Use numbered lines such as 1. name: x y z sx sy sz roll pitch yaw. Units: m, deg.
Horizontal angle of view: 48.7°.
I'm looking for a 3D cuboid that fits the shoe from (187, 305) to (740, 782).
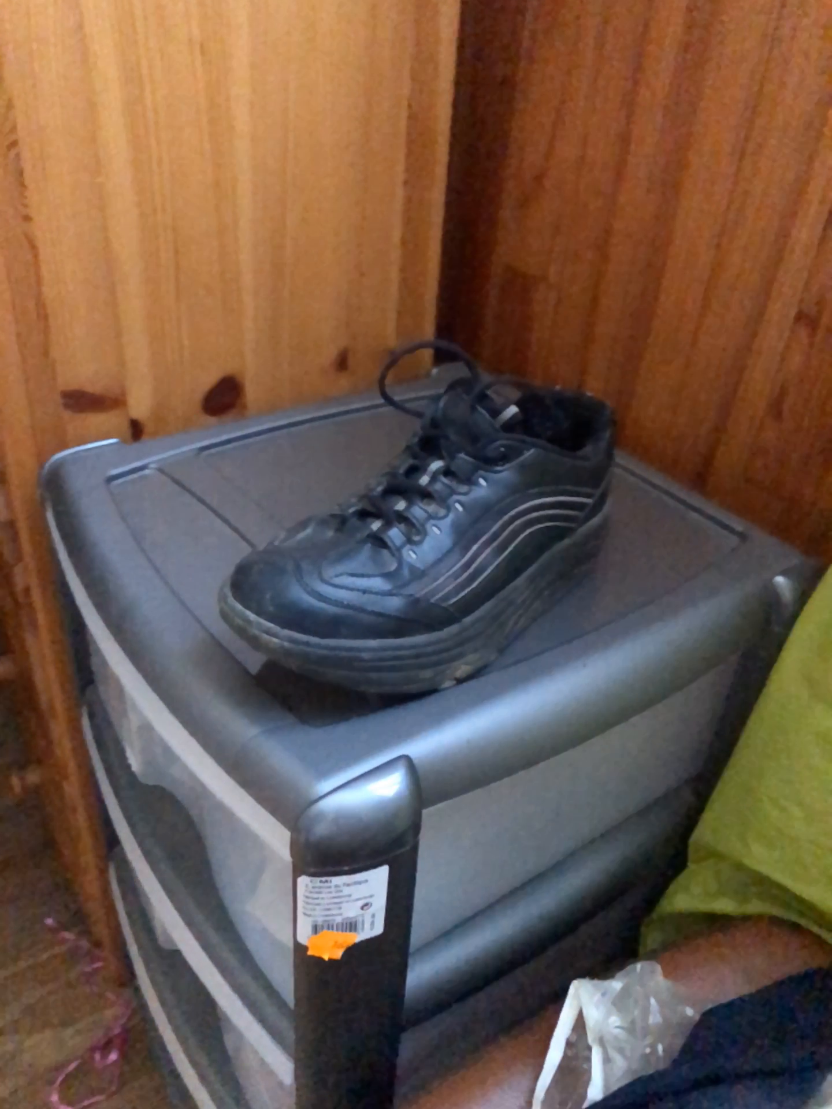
1. shoe: 0.033 -0.026 0.476 0.272 0.129 0.110 -25 44 -38
